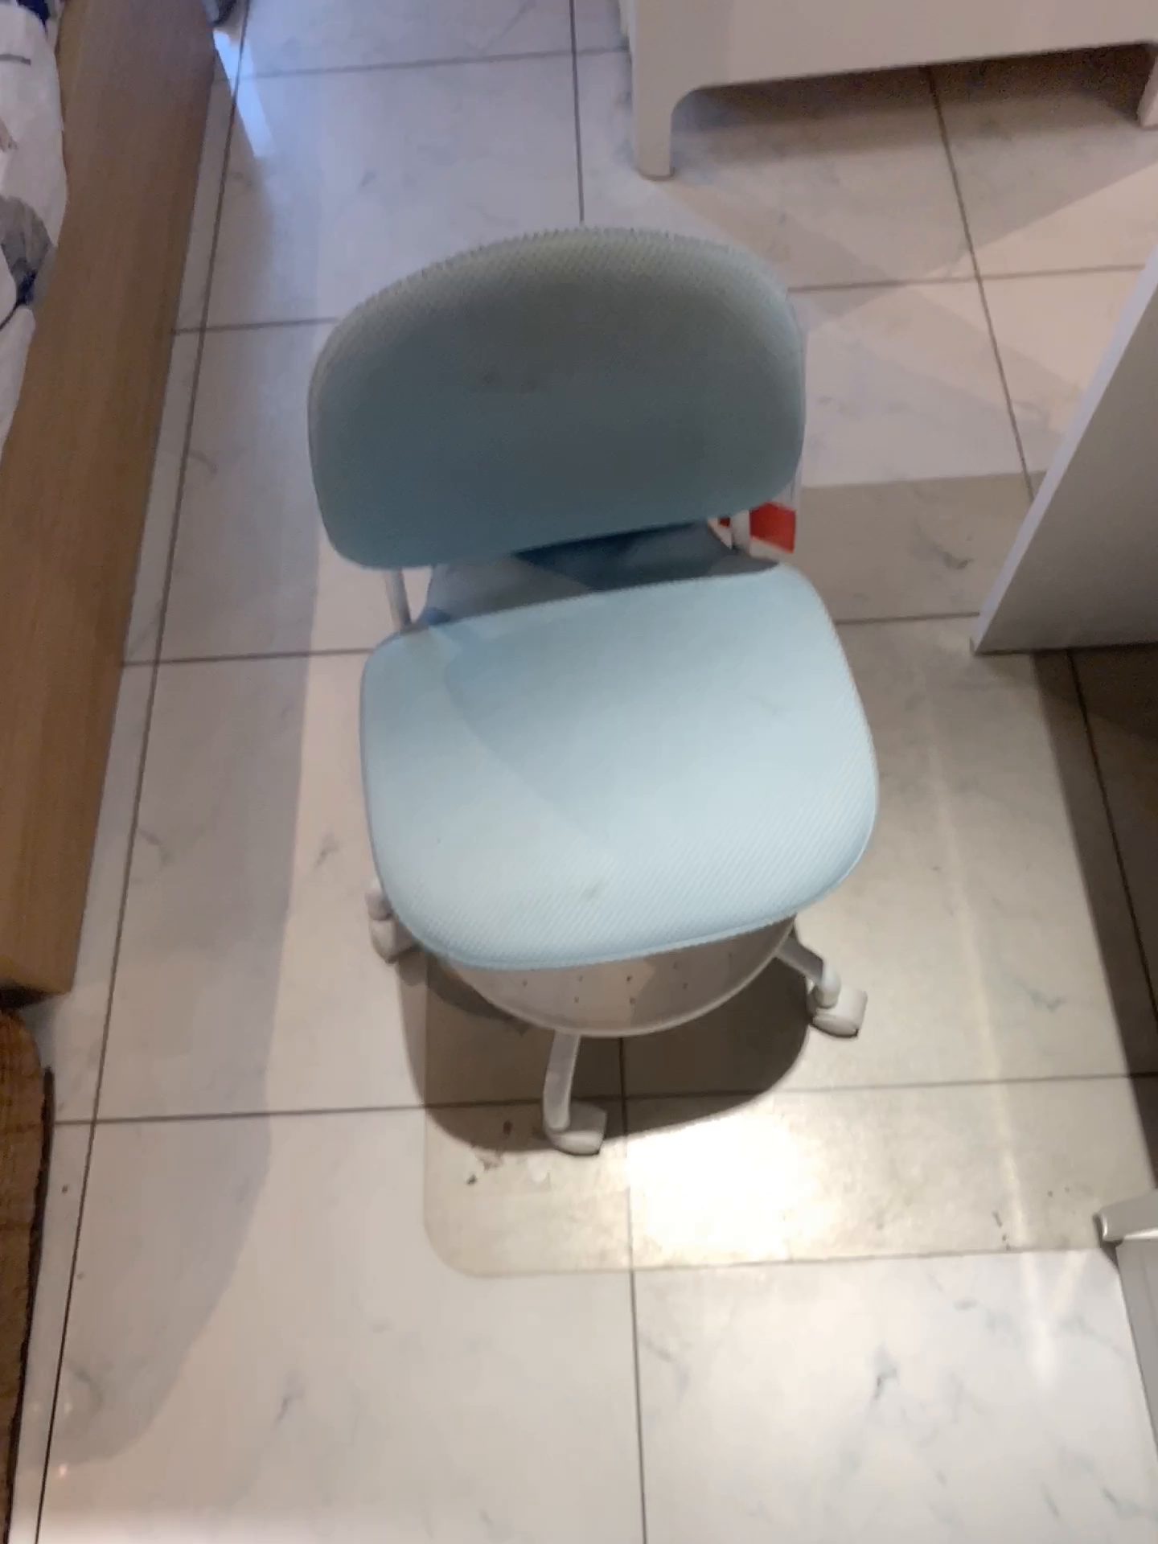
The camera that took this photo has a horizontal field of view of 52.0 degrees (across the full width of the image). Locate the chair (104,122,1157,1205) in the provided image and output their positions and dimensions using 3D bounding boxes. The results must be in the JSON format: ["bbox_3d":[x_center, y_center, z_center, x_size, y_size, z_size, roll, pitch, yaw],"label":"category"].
[{"bbox_3d":[0.010,-0.018,1.097,0.600,0.719,0.621,-11,64,-2],"label":"chair"}]
